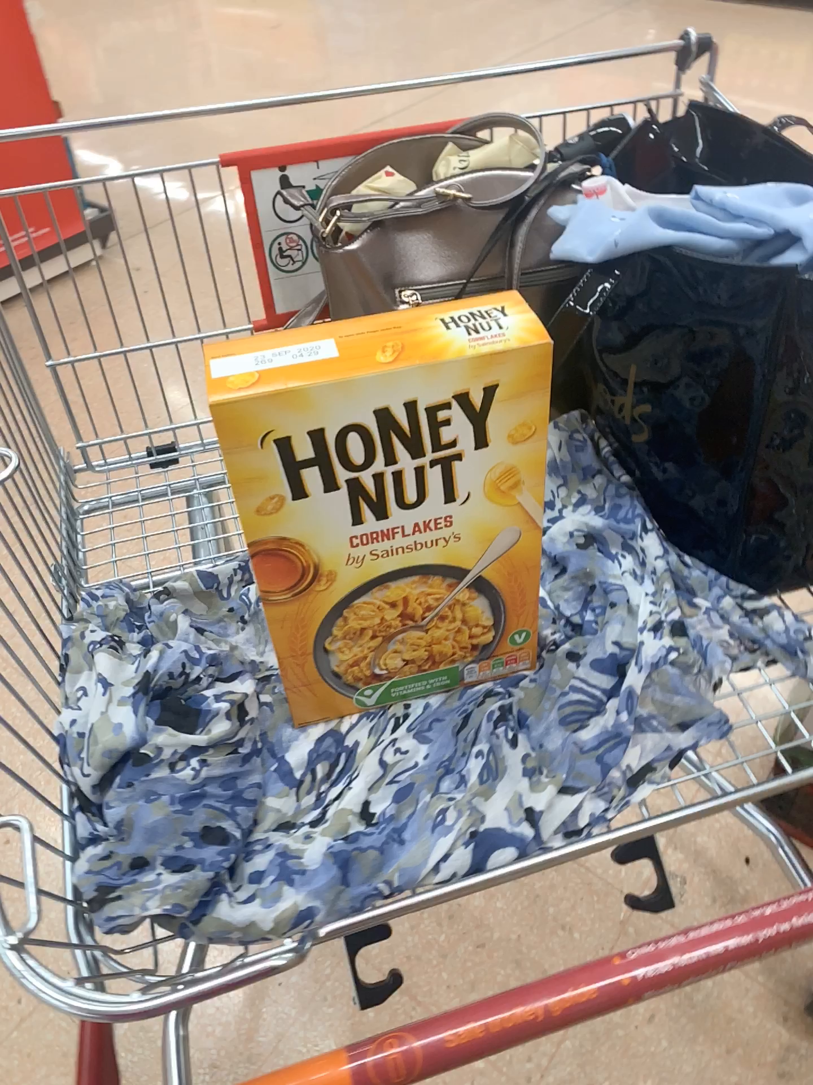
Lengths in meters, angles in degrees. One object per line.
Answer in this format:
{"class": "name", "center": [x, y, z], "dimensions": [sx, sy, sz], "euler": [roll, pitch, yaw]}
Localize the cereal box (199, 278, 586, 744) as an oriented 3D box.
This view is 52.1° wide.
{"class": "cereal box", "center": [-0.002, -0.007, 0.574], "dimensions": [0.210, 0.297, 0.081], "euler": [-12, 41, -8]}
